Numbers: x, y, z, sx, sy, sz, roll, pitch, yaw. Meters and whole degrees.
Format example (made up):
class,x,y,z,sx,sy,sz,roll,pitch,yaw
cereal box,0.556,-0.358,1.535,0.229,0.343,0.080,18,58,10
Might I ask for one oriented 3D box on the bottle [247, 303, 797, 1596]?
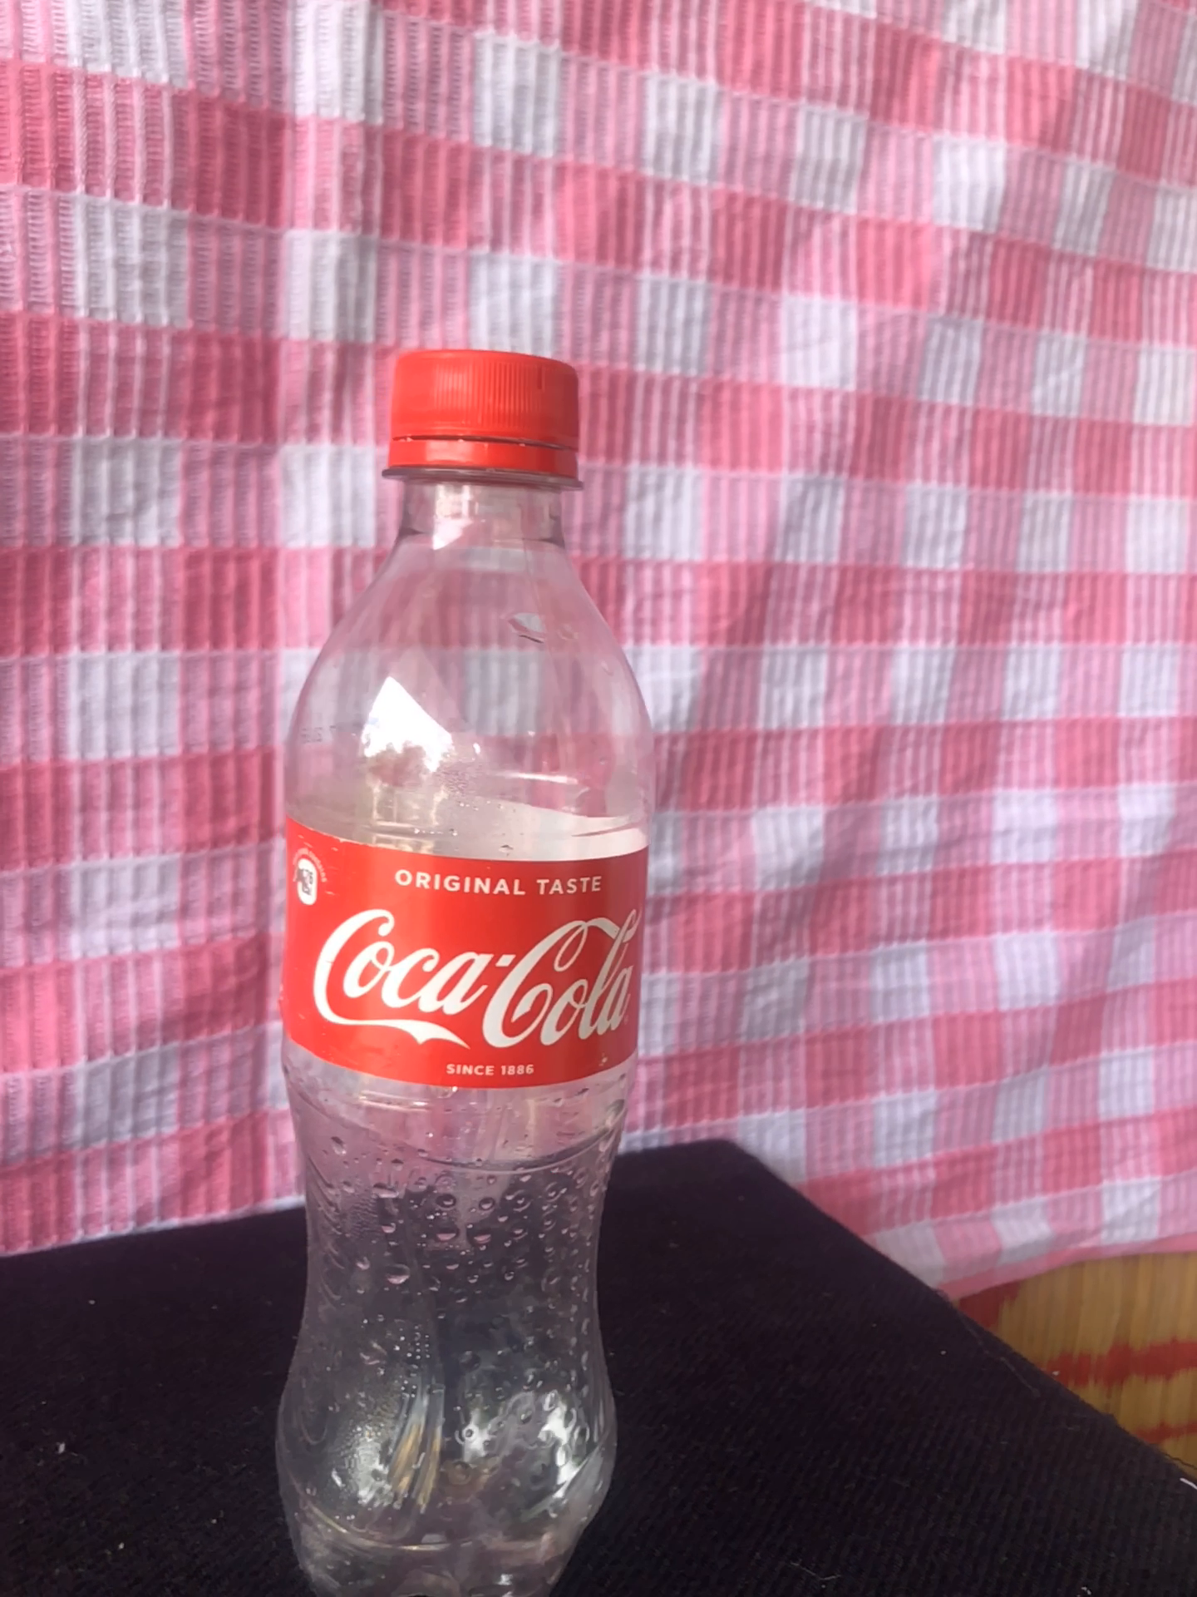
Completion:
class,x,y,z,sx,sy,sz,roll,pitch,yaw
bottle,-0.014,0.028,0.214,0.060,0.190,0.060,5,10,-1
